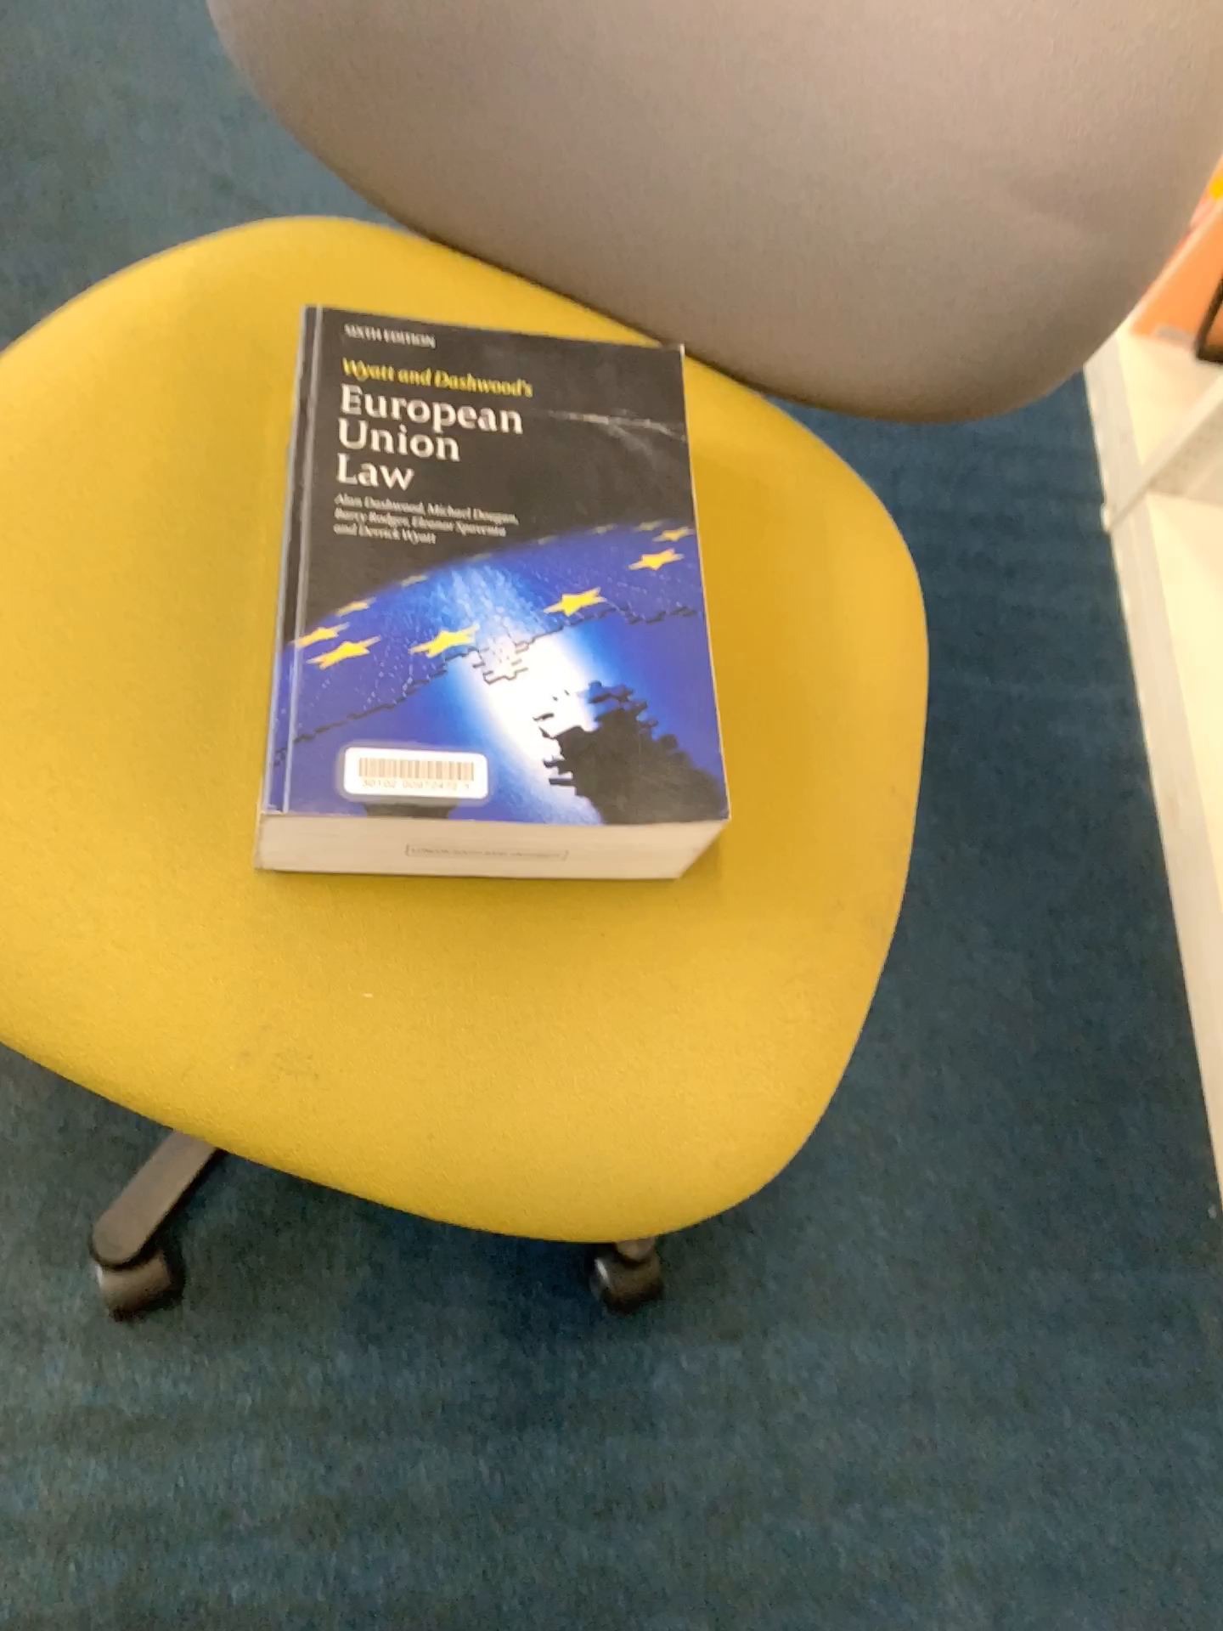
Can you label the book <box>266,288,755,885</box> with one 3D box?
[{"bbox_3d":[-0.046,-0.100,0.540,0.180,0.060,0.251,3,64,-13],"label":"book"}]
